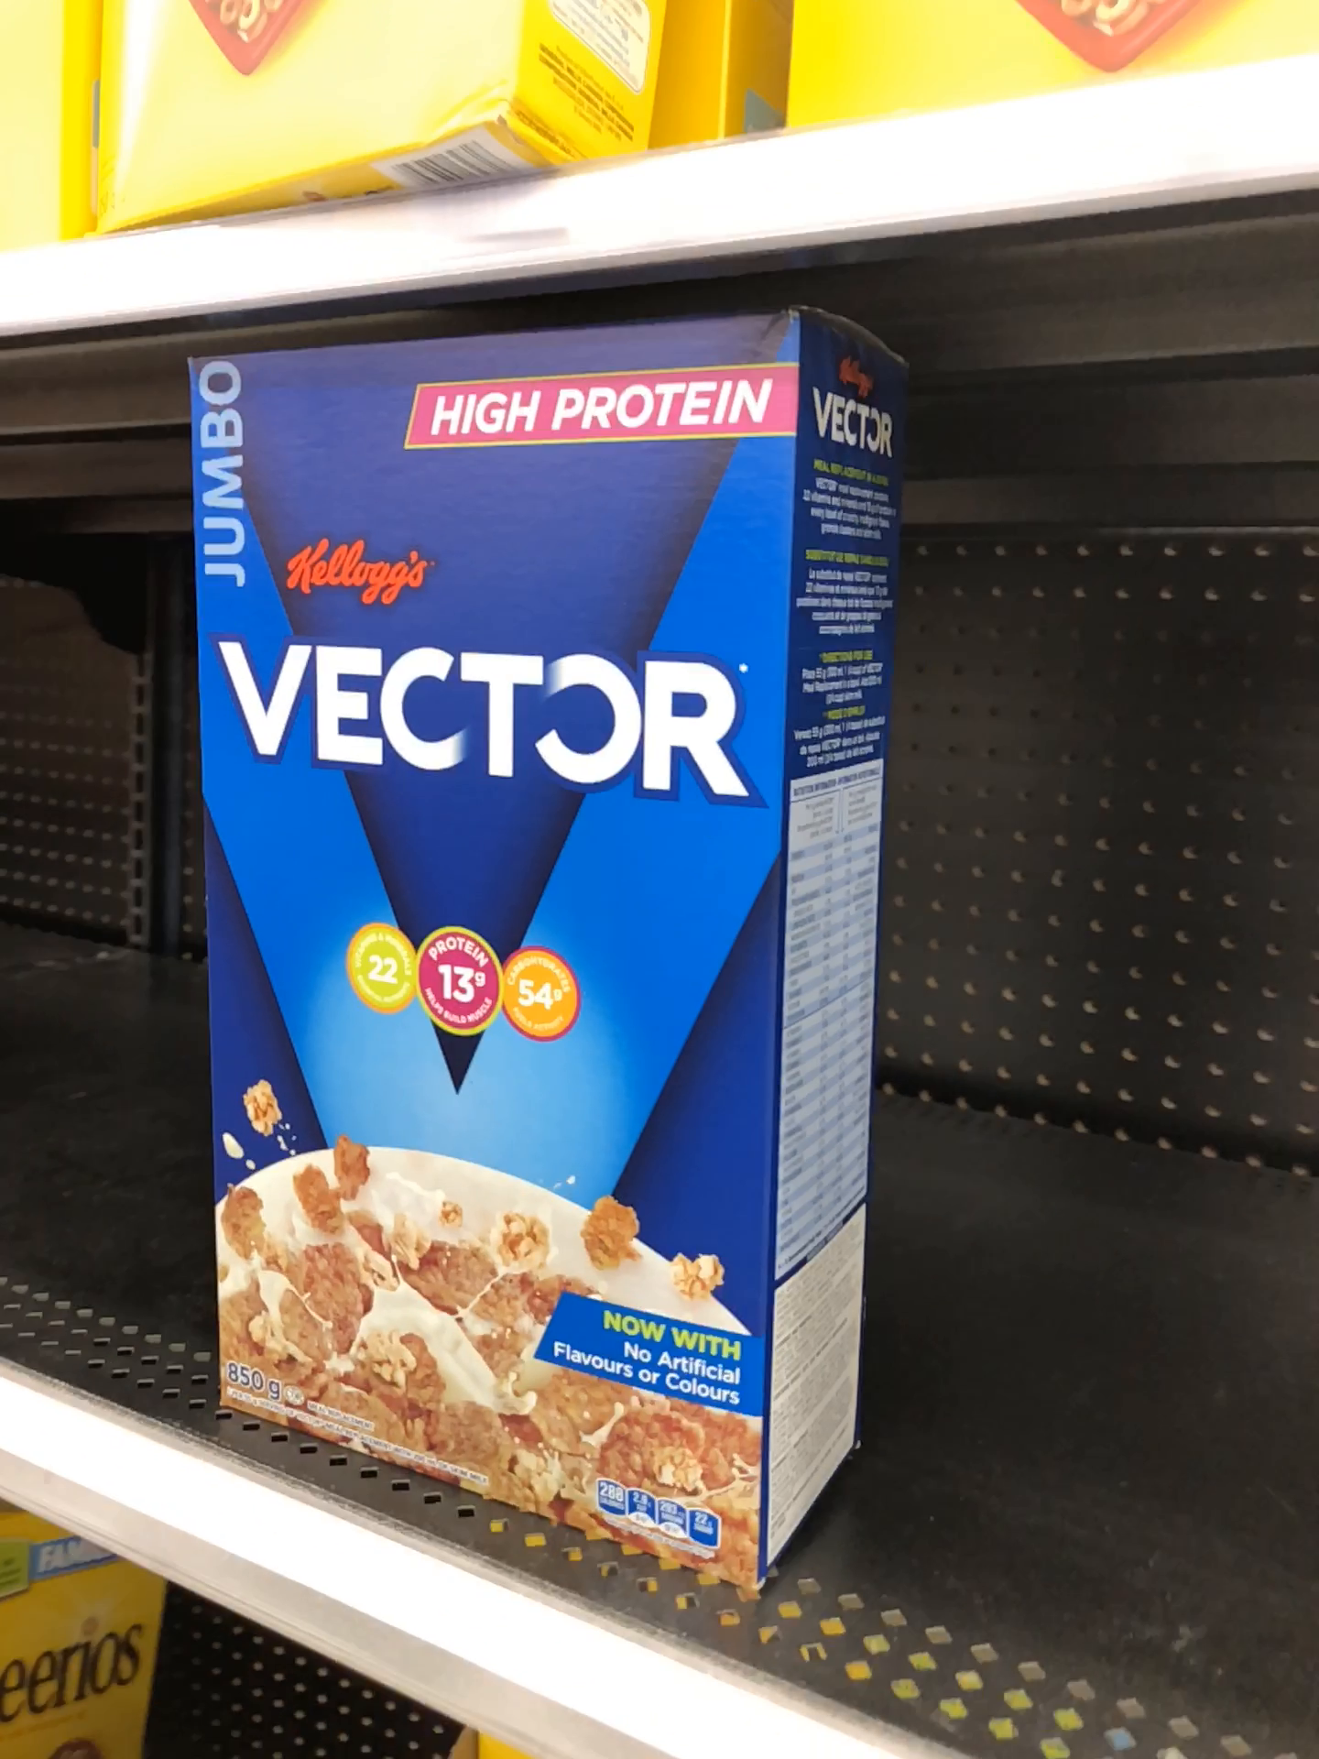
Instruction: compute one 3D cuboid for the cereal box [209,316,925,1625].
[{"bbox_3d":[-0.035,0.020,0.461,0.200,0.349,0.080,6,10,27],"label":"cereal box"}]
